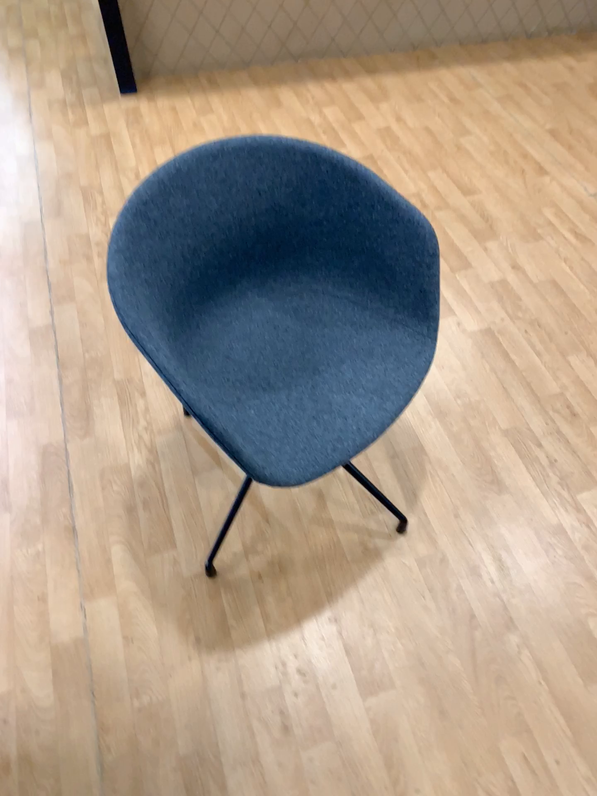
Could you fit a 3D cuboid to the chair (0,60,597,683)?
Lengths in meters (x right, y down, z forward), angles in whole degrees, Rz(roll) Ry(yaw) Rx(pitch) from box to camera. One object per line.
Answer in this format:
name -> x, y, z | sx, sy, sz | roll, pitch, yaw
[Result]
chair -> 0.001, -0.071, 1.196 | 0.712, 0.685, 0.733 | -37, 61, -24
